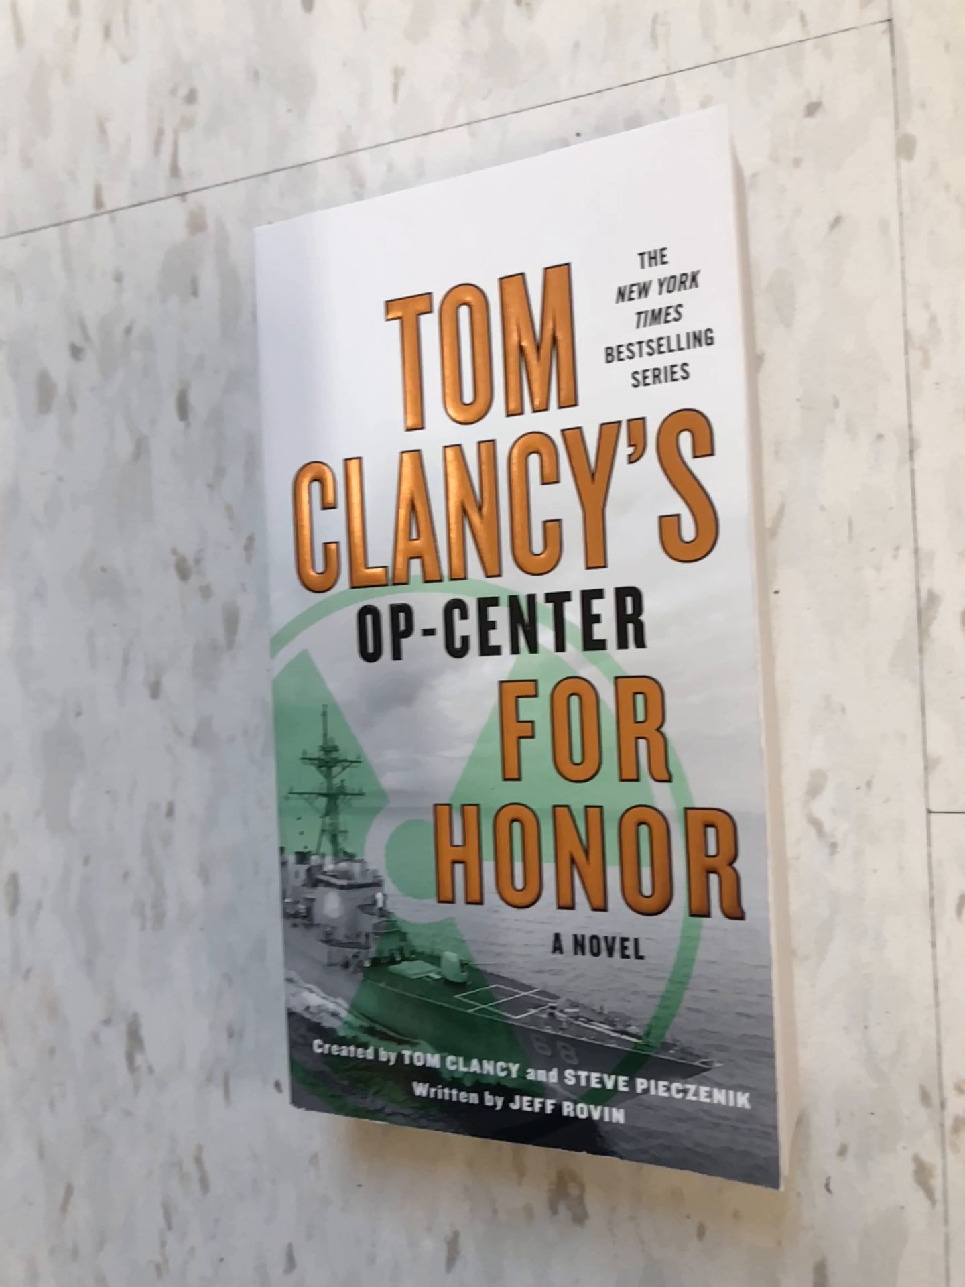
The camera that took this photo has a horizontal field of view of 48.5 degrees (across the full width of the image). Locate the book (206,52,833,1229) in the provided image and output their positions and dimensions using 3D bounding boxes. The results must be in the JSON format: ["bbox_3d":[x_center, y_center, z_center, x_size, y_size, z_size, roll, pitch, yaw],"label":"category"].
[{"bbox_3d":[0.008,0.002,0.226,0.110,0.050,0.200,-4,88,23],"label":"book"}]
